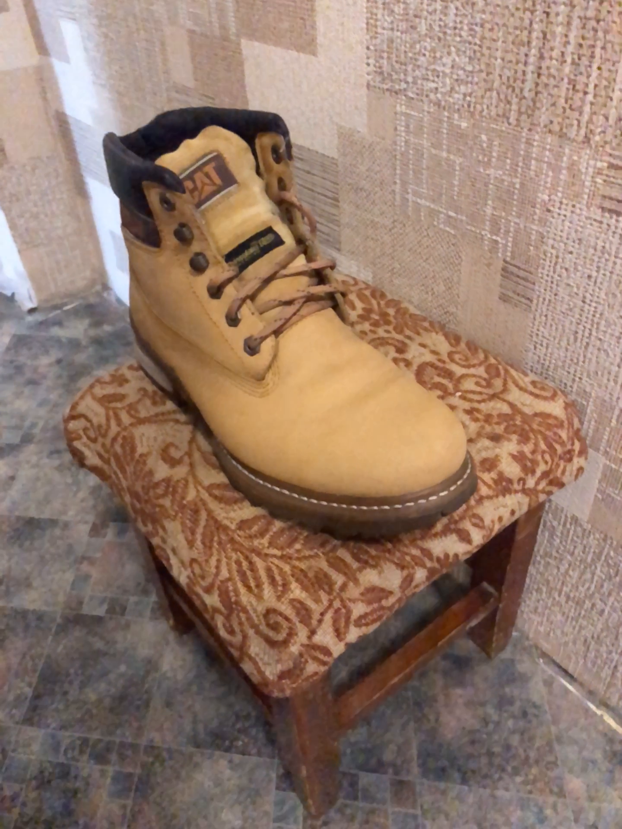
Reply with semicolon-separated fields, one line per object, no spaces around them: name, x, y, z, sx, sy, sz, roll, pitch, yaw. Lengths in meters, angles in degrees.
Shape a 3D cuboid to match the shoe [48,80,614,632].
shoe;-0.009;-0.057;0.413;0.130;0.189;0.291;-30;48;-27
